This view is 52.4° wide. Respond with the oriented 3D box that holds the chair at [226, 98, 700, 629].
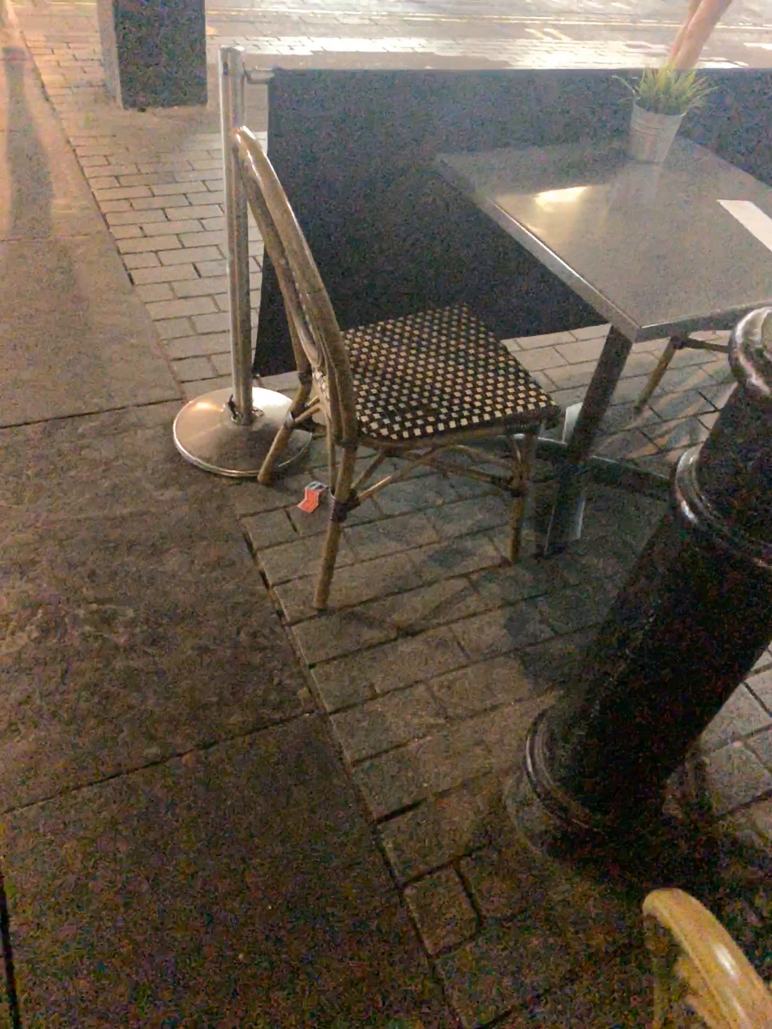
[{"bbox_3d":[0.059,-0.294,1.530,0.601,0.792,0.514,-13,48,-22],"label":"chair"}]
